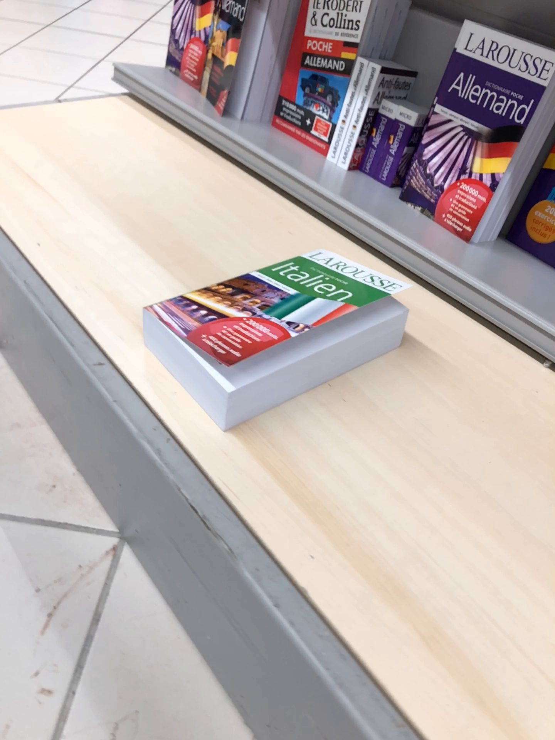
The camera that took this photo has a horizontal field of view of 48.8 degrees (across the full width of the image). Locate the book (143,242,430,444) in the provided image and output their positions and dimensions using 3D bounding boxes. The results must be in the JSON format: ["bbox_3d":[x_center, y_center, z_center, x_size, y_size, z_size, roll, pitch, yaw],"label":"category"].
[{"bbox_3d":[0.009,-0.031,0.457,0.184,0.045,0.106,-23,50,-32],"label":"book"}]
